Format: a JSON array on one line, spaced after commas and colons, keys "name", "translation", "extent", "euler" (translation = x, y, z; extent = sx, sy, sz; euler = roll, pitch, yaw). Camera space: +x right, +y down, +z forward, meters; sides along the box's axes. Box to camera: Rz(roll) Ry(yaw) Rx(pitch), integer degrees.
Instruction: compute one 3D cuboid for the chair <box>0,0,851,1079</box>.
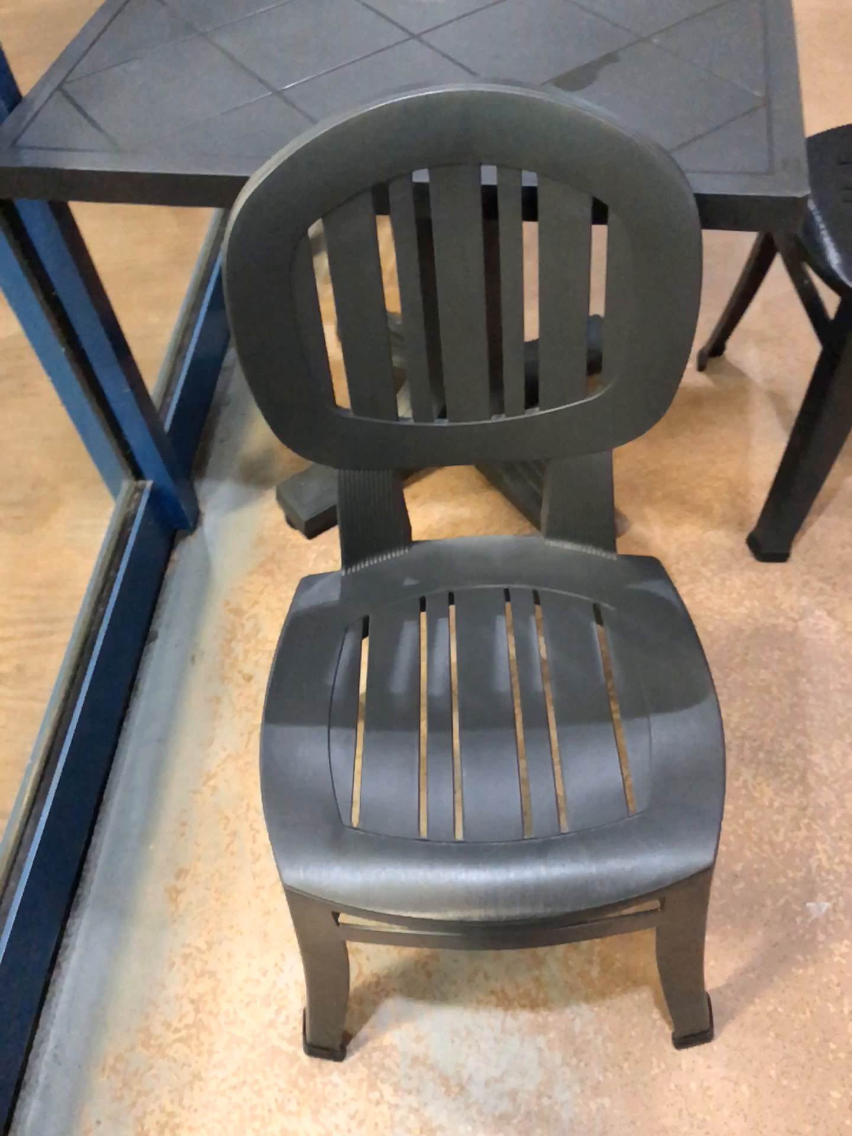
[{"name": "chair", "translation": [0.055, 0.051, 0.766], "extent": [0.500, 0.736, 0.553], "euler": [-3, 54, 3]}]
